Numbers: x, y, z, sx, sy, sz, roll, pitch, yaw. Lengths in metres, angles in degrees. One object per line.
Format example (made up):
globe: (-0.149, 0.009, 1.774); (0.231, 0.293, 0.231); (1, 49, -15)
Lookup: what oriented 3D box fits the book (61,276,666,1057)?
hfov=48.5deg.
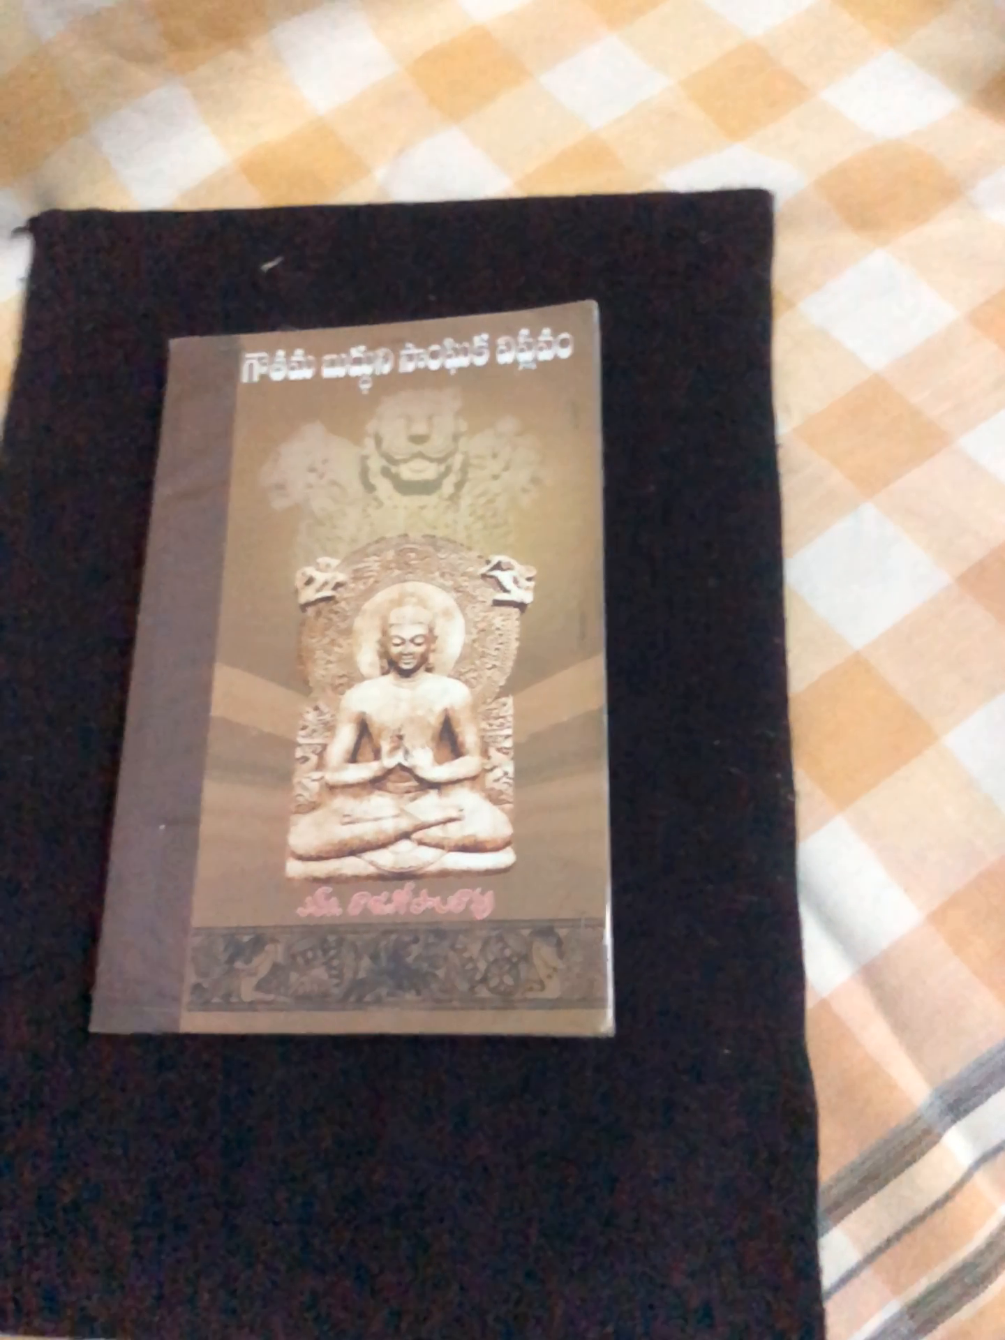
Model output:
book: (-0.031, -0.012, 0.323); (0.150, 0.020, 0.230); (0, 69, 5)
